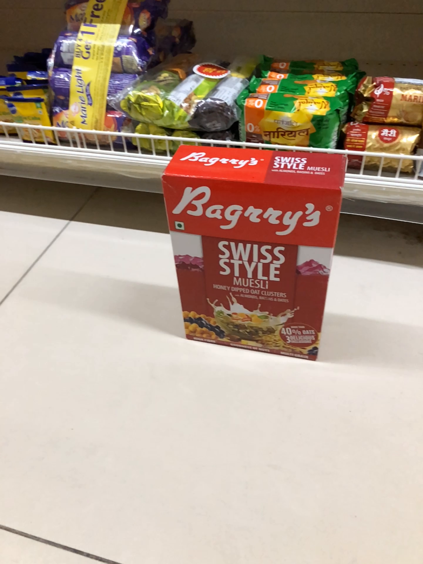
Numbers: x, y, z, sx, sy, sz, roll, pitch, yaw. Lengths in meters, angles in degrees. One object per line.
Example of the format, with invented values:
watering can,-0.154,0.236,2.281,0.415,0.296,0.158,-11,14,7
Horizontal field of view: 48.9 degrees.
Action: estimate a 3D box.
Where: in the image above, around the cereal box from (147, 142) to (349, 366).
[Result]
cereal box,0.044,-0.022,0.544,0.190,0.258,0.060,8,44,14
